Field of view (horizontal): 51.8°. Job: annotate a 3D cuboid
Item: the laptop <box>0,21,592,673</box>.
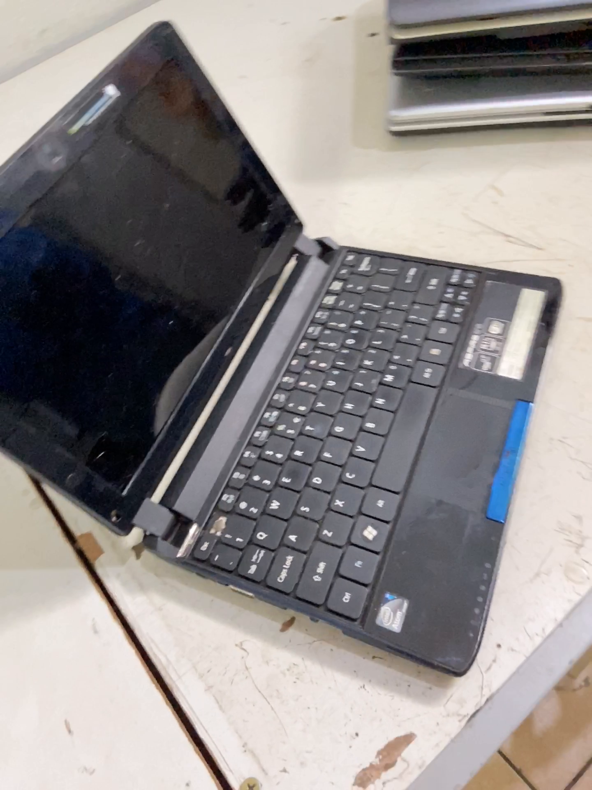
[{"bbox_3d":[-0.004,-0.050,0.318,0.259,0.145,0.253,15,59,19],"label":"laptop"}]
